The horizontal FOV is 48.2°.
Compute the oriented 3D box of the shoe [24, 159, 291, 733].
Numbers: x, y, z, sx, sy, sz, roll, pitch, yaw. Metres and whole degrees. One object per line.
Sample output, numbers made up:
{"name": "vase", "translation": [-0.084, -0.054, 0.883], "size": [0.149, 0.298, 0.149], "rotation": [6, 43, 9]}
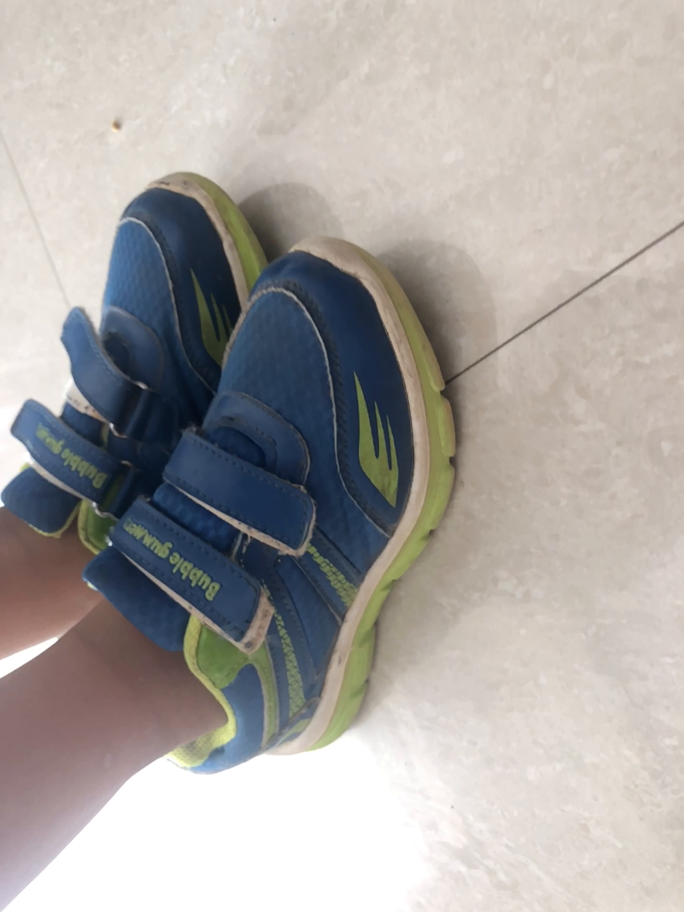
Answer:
{"name": "shoe", "translation": [-0.089, -0.004, 0.334], "size": [0.090, 0.060, 0.220], "rotation": [27, 117, 38]}

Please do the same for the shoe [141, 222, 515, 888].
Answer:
{"name": "shoe", "translation": [-0.017, 0.035, 0.287], "size": [0.090, 0.060, 0.220], "rotation": [28, 118, 37]}
